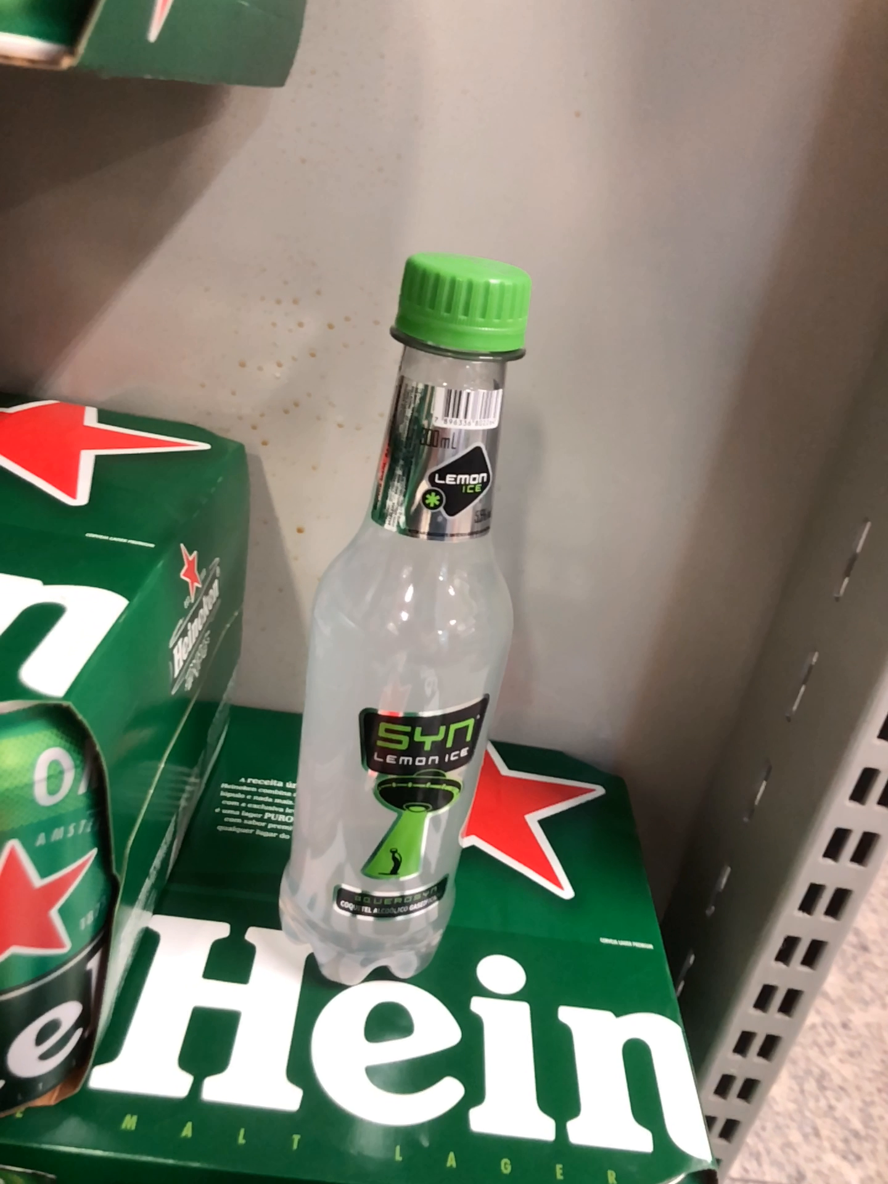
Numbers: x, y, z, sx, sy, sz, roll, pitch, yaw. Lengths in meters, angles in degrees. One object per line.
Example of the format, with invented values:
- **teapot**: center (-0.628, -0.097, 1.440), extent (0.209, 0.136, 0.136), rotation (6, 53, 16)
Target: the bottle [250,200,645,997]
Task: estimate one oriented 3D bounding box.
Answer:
- **bottle**: center (-0.011, 0.010, 0.273), extent (0.060, 0.208, 0.060), rotation (9, 26, -4)
